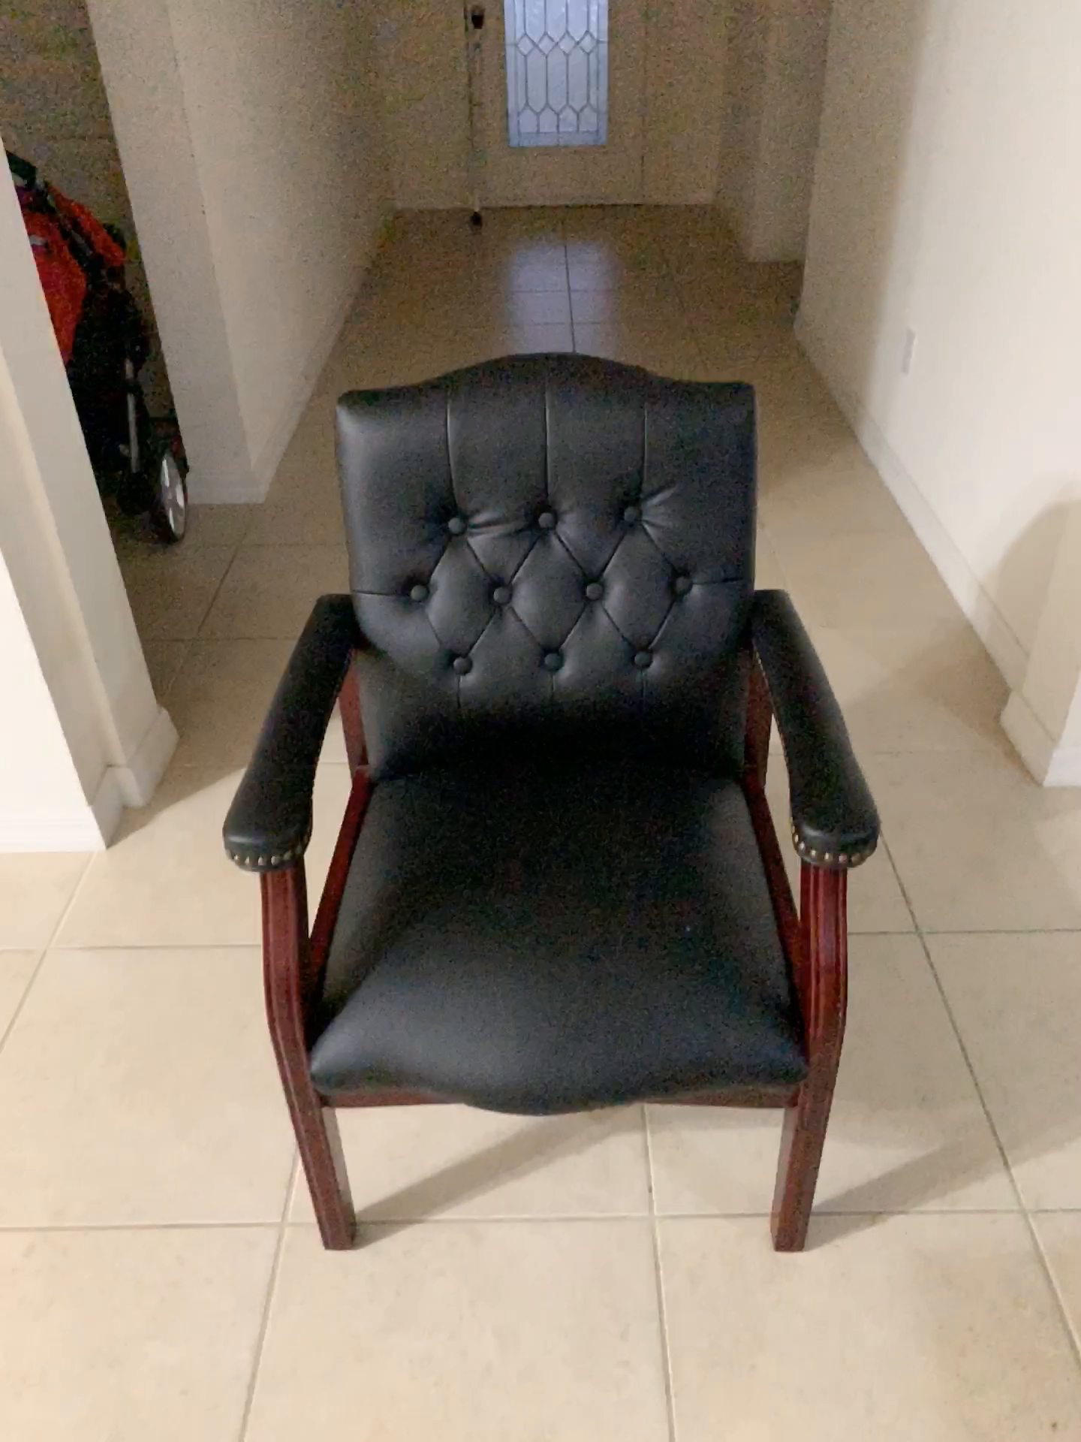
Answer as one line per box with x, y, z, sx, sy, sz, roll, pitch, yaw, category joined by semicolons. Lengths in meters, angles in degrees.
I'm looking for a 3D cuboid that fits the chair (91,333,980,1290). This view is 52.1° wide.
0.005;0.106;1.315;0.631;0.907;0.661;-1;35;1;chair
